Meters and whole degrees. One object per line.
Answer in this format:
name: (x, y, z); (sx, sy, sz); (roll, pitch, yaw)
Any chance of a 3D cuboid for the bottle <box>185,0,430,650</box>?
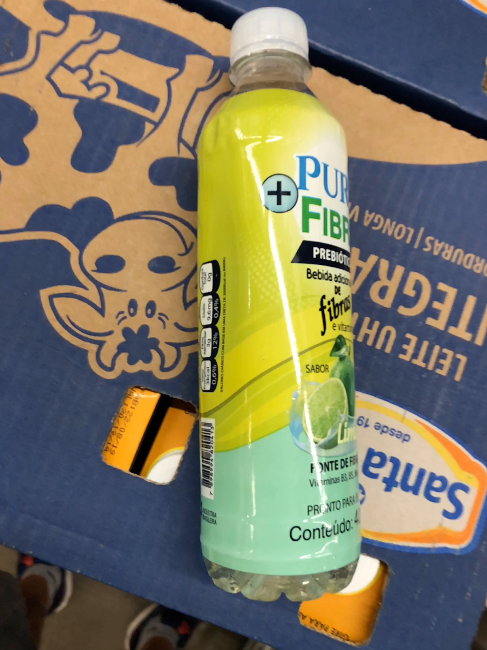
bottle: (0.014, -0.028, 0.205); (0.070, 0.060, 0.250); (0, 80, -6)
